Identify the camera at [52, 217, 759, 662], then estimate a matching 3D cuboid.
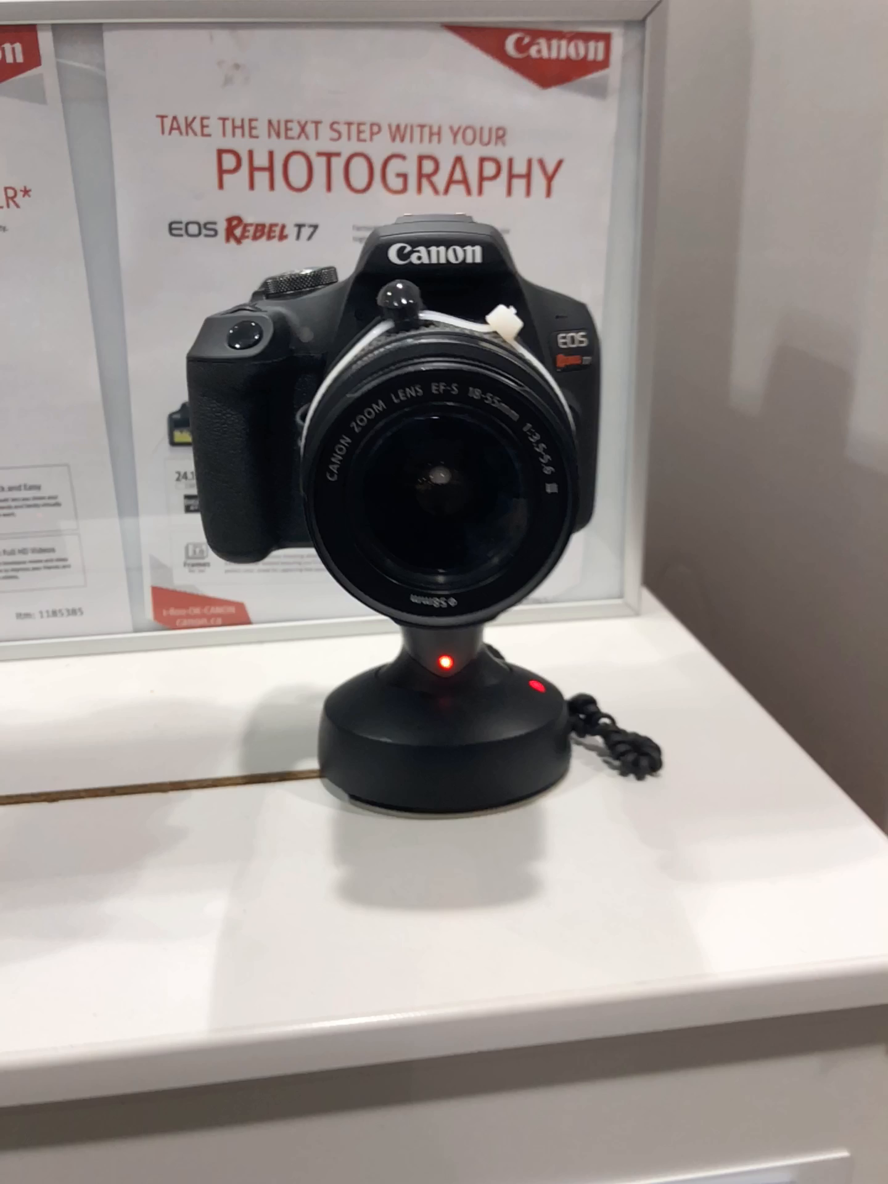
[{"bbox_3d":[-0.009,-0.054,0.281,0.140,0.090,0.150,-2,19,-2],"label":"camera"}]
